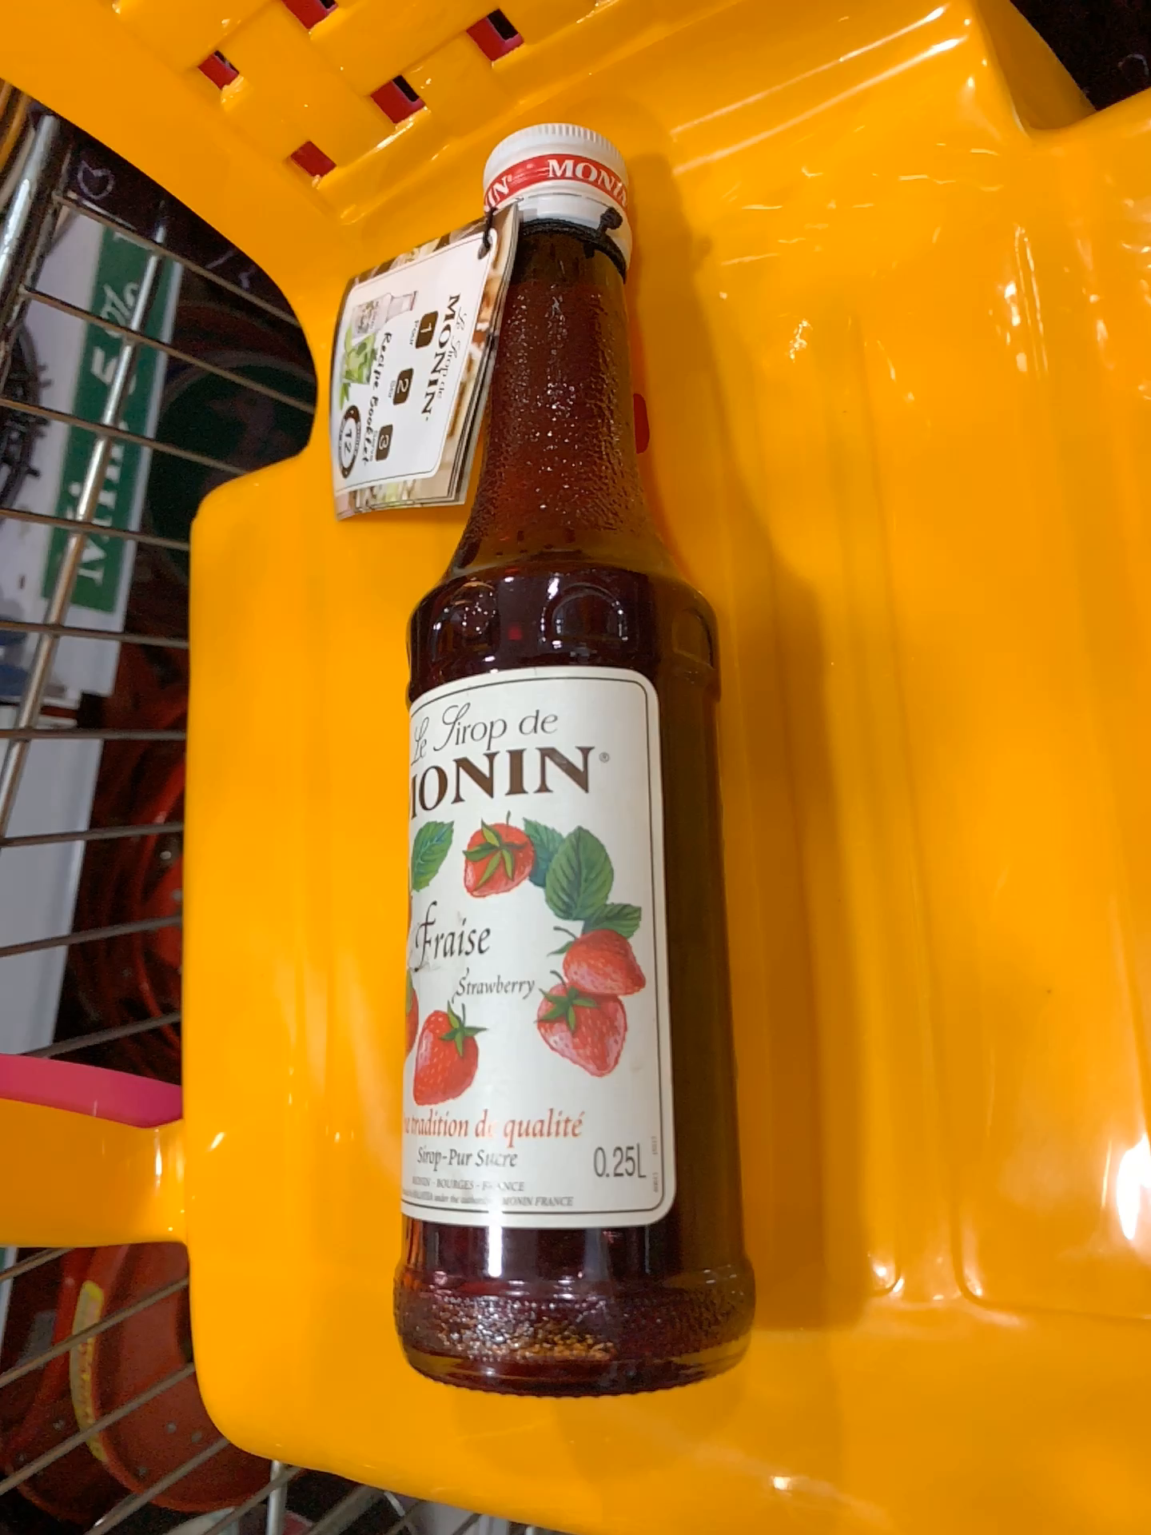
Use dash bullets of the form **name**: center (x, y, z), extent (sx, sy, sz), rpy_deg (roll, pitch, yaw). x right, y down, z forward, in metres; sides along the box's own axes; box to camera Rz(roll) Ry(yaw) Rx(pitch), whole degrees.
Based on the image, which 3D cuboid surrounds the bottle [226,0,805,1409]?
- **bottle**: center (-0.009, -0.025, 0.207), extent (0.060, 0.060, 0.230), rpy_deg (-12, 69, 31)
